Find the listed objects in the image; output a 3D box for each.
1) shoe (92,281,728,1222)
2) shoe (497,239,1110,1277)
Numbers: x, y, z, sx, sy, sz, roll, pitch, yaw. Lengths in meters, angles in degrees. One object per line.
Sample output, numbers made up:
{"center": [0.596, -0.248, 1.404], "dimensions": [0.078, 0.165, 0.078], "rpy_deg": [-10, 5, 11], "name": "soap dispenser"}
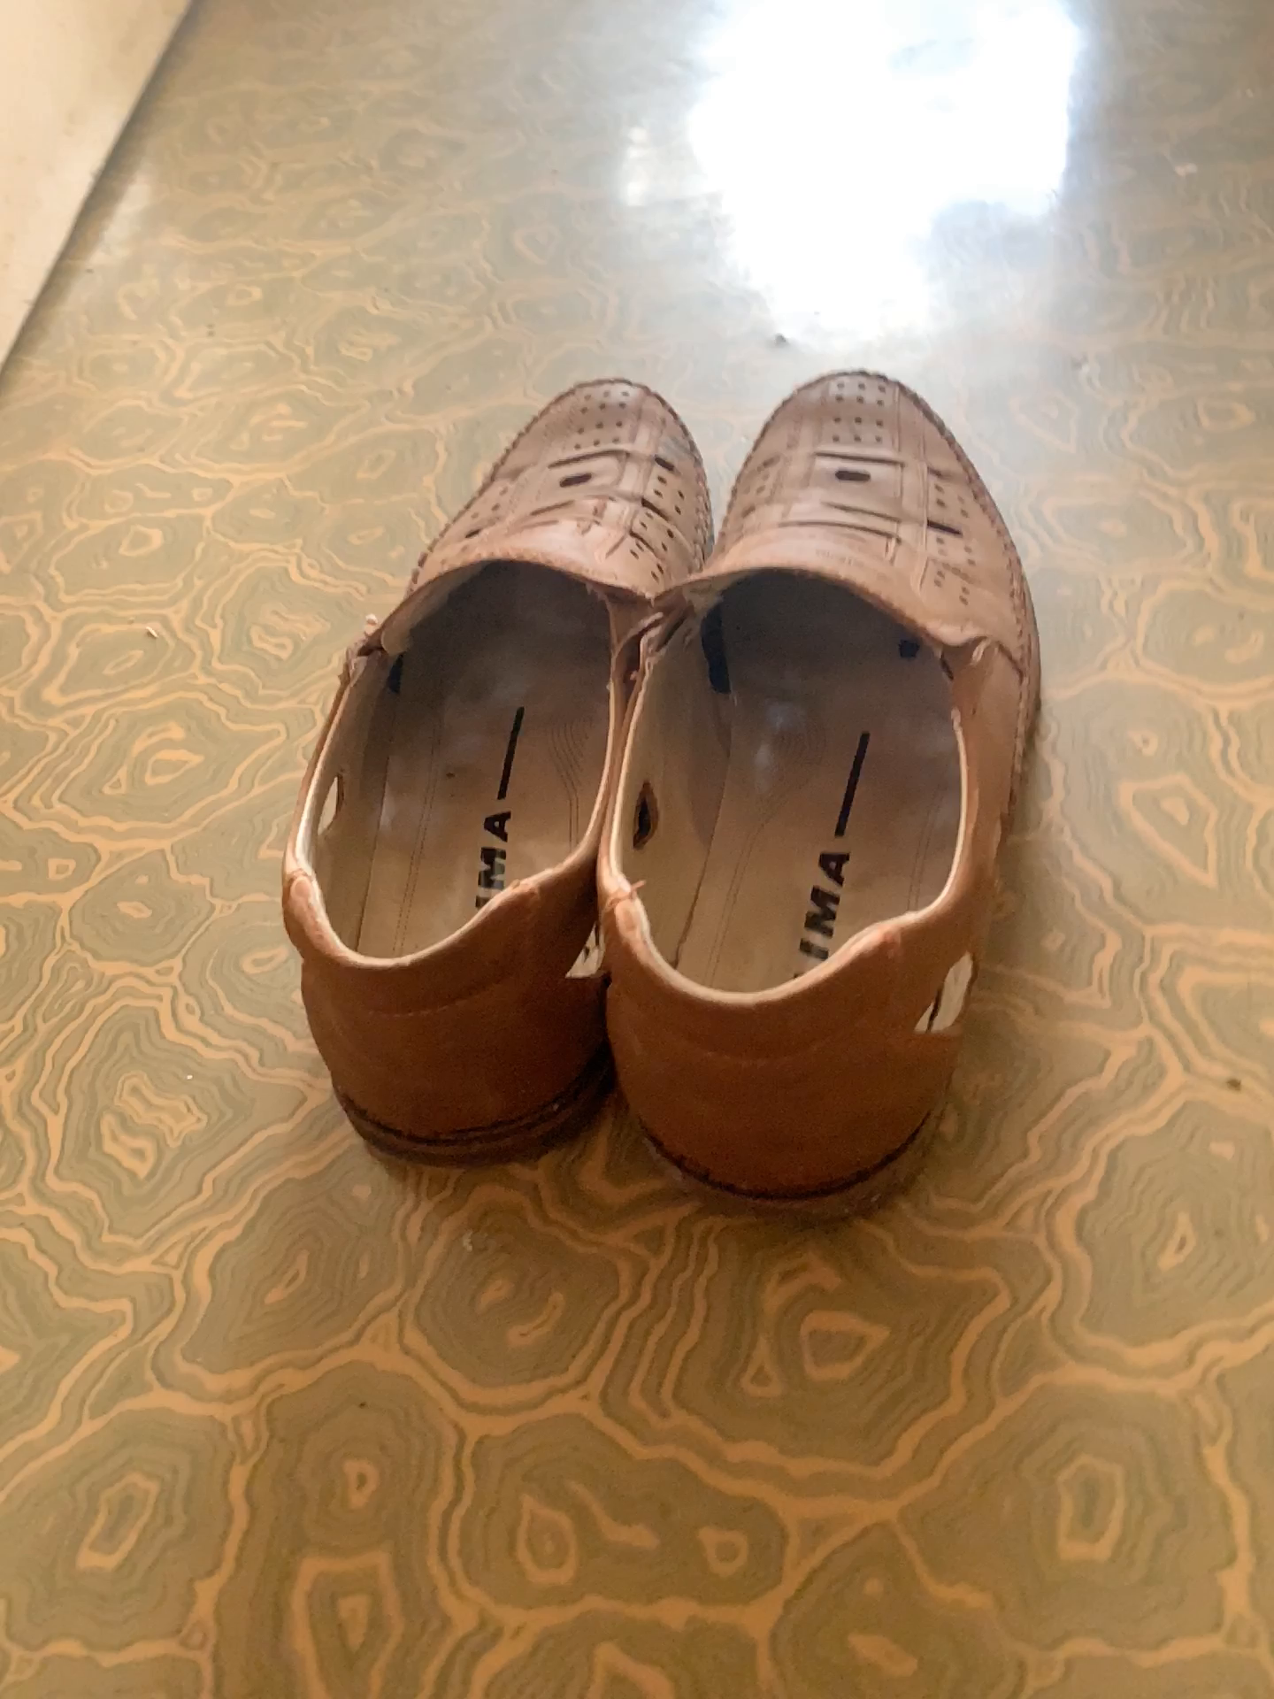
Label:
{"center": [-0.040, -0.050, 0.385], "dimensions": [0.100, 0.079, 0.292], "rpy_deg": [1, 52, 11], "name": "shoe"}
{"center": [0.061, -0.049, 0.353], "dimensions": [0.110, 0.079, 0.292], "rpy_deg": [4, 52, 14], "name": "shoe"}
